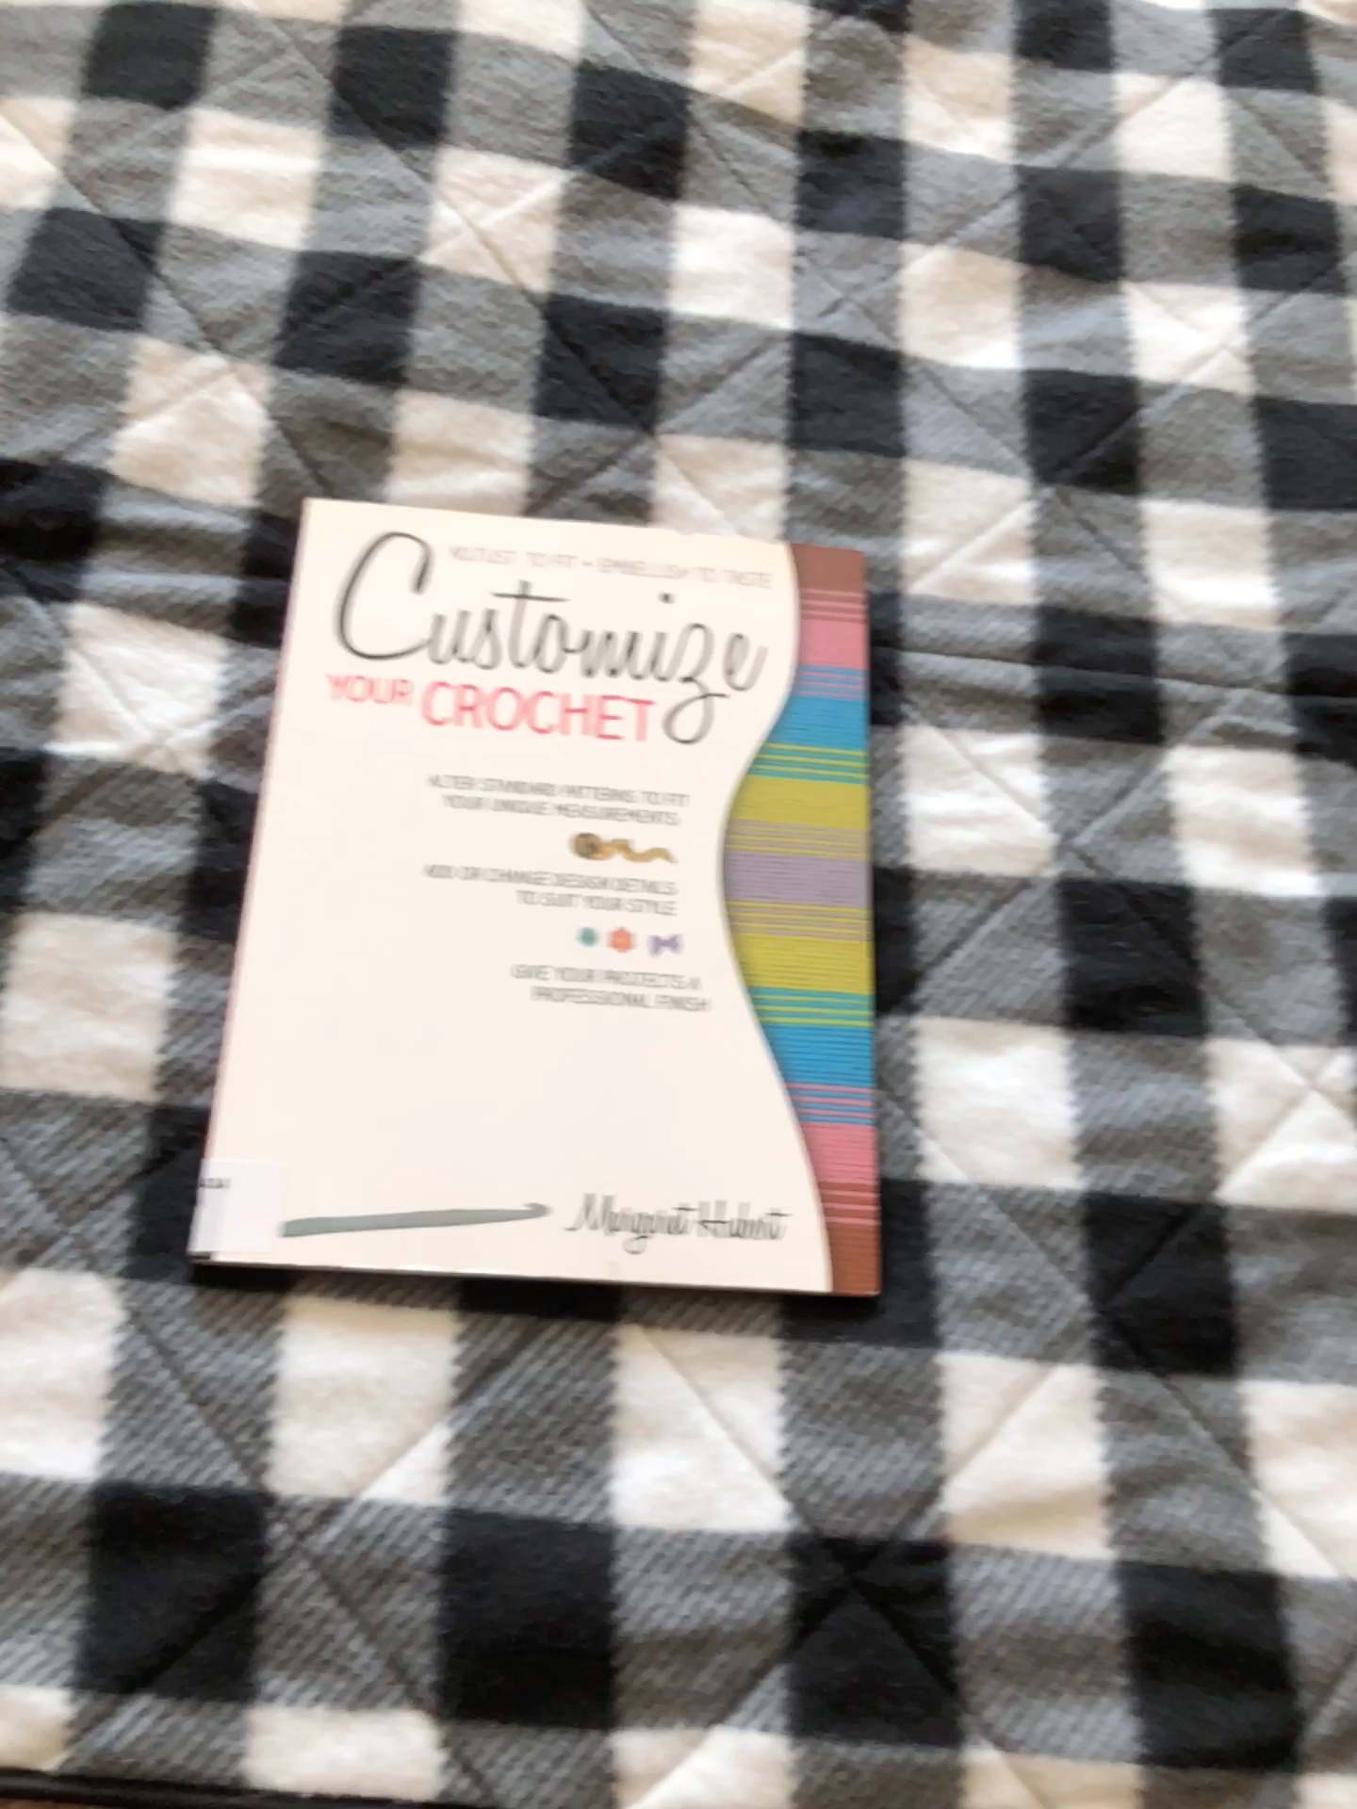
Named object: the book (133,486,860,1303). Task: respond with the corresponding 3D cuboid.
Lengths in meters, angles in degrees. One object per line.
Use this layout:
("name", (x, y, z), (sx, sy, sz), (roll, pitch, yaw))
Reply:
("book", (-0.042, -0.010, 0.443), (0.186, 0.020, 0.238), (4, 67, -6))
